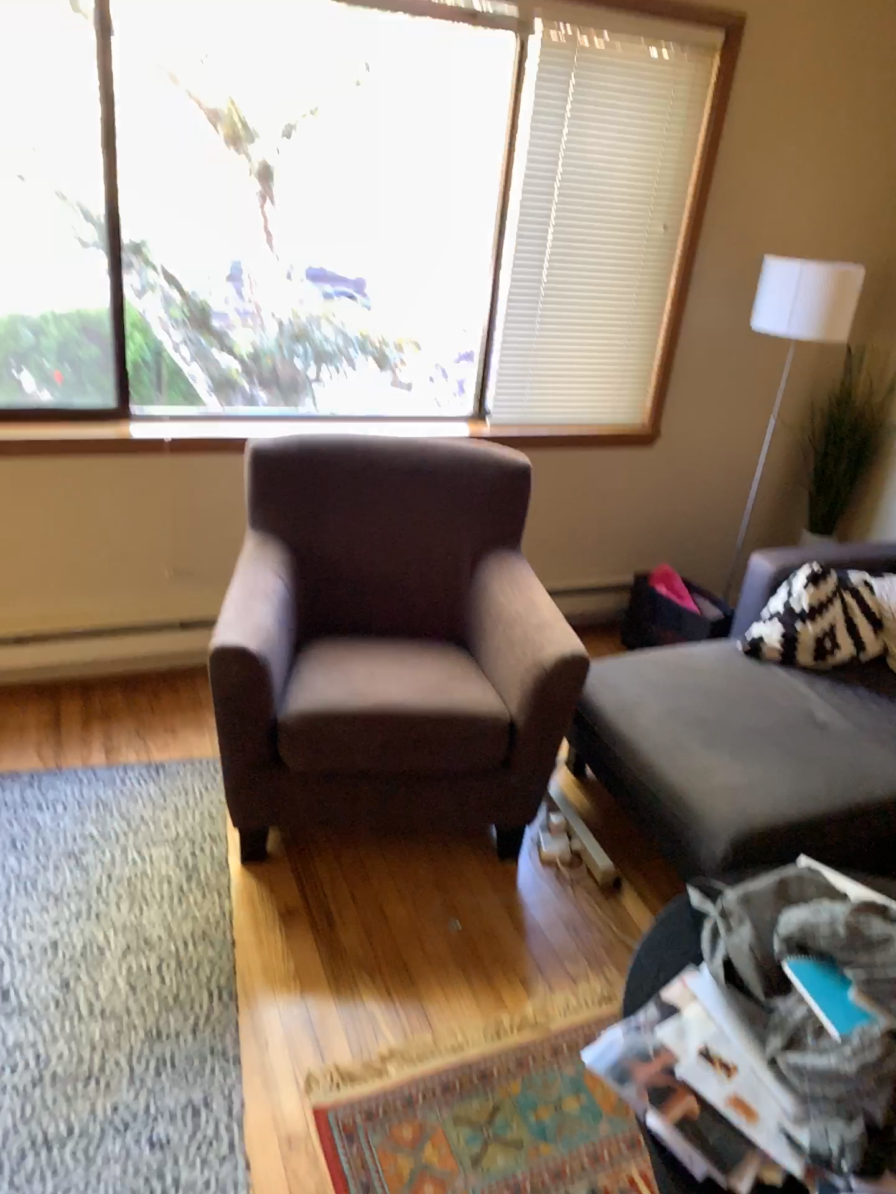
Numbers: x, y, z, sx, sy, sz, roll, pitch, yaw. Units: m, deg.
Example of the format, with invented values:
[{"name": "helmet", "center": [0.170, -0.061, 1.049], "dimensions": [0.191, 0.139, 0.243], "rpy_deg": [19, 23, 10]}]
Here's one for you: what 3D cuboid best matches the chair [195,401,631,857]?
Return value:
[{"name": "chair", "center": [-0.154, 0.044, 2.352], "dimensions": [0.880, 0.876, 0.804], "rpy_deg": [2, 23, -10]}]
